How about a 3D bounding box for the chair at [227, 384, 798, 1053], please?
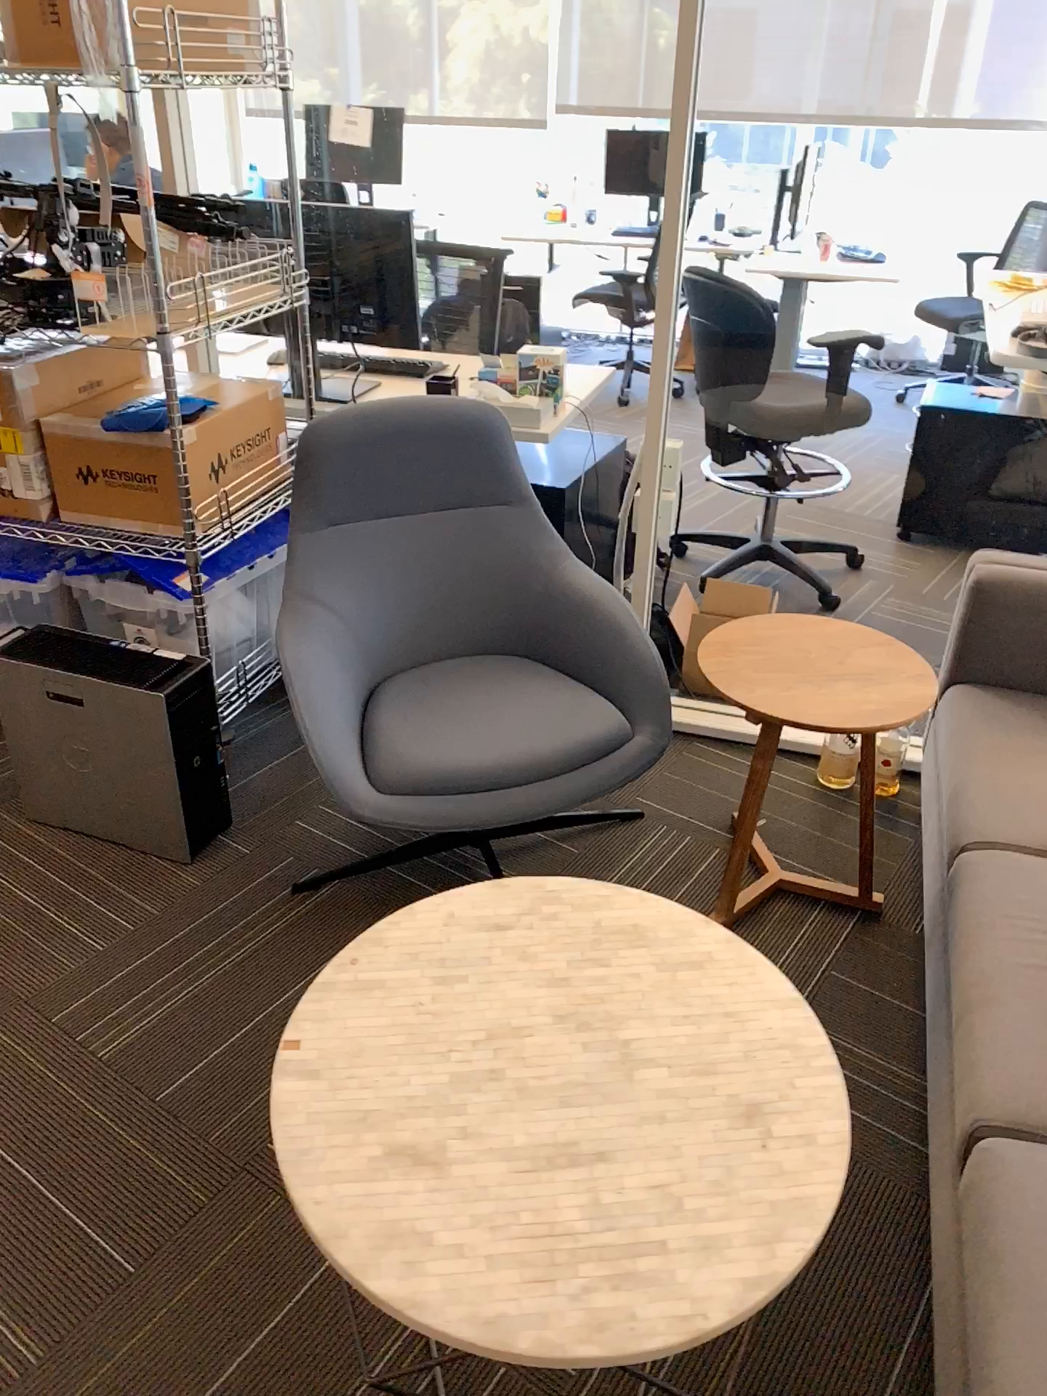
[{"bbox_3d":[-0.108,-0.046,2.334,0.840,0.964,1.006,-9,32,-17],"label":"chair"}]
